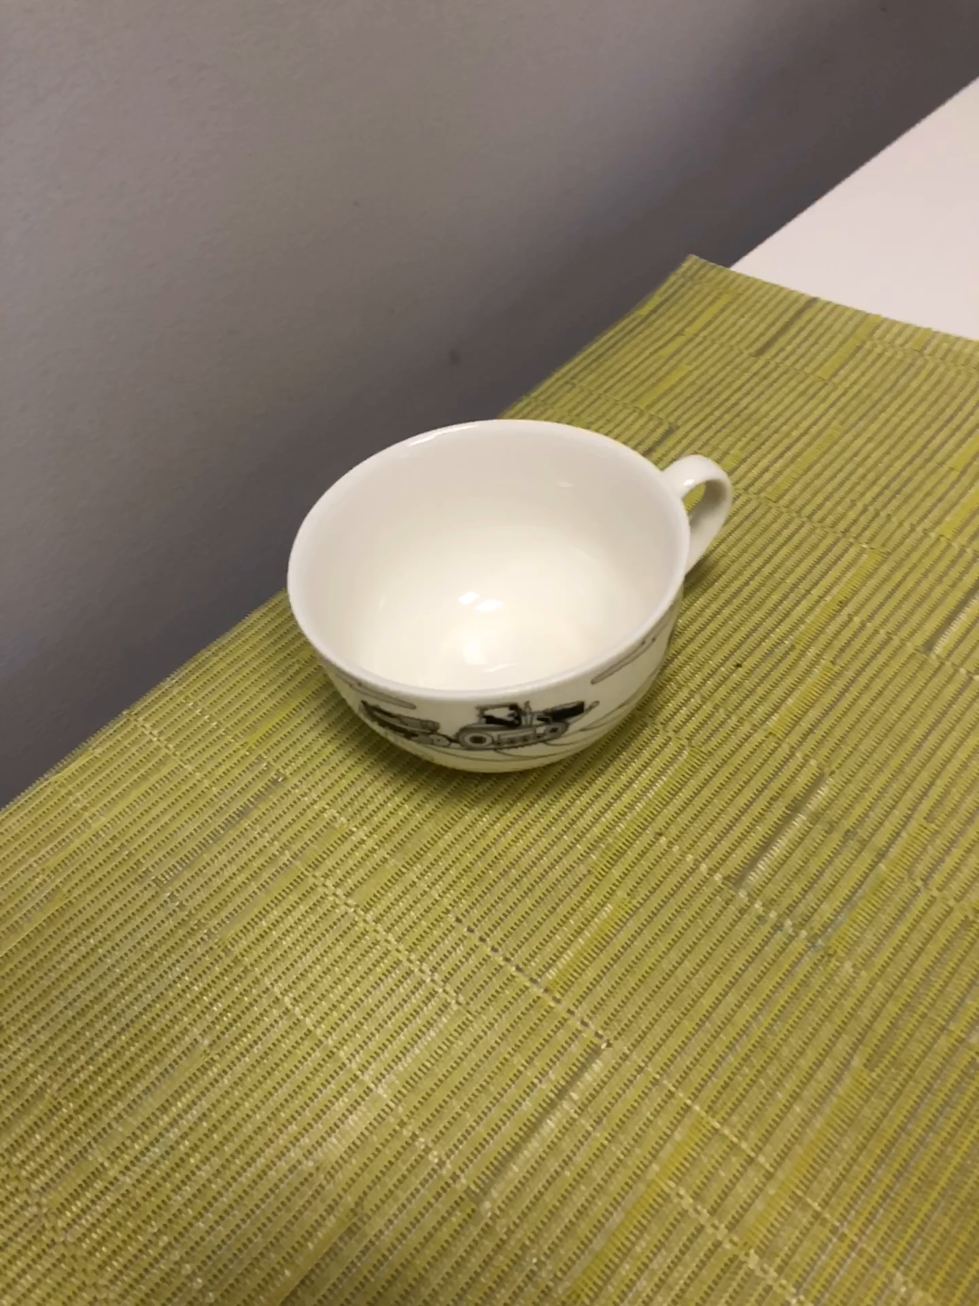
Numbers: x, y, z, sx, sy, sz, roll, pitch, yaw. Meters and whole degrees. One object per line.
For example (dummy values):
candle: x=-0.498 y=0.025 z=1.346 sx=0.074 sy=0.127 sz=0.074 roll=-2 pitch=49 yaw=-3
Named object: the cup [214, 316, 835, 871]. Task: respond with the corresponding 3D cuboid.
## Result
cup: x=0.008 y=-0.021 z=0.269 sx=0.113 sy=0.051 sz=0.089 roll=-31 pitch=51 yaw=-17
